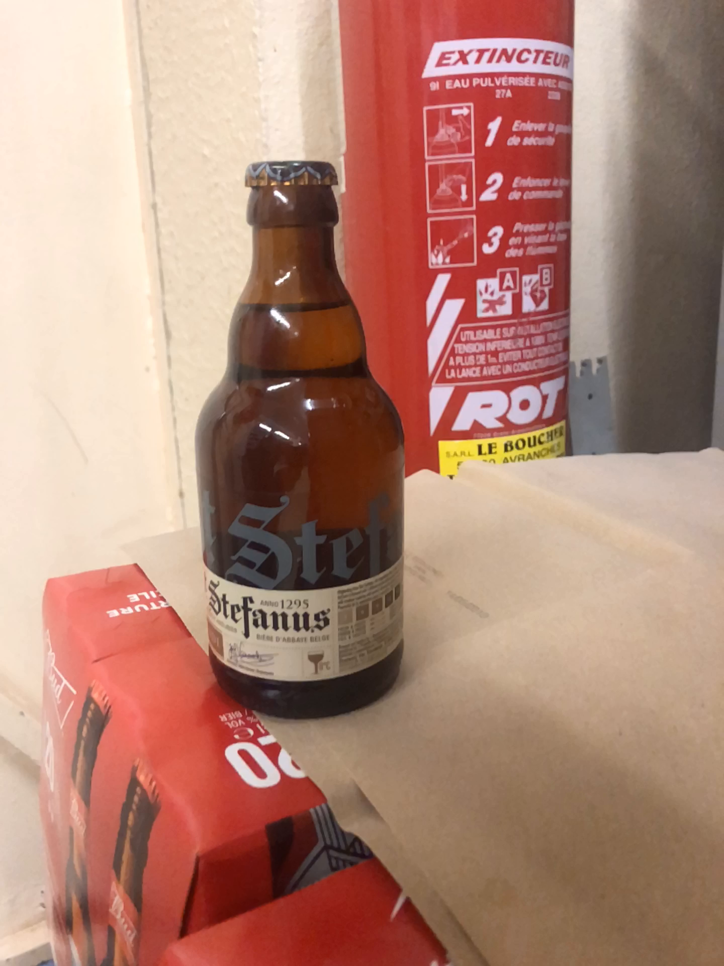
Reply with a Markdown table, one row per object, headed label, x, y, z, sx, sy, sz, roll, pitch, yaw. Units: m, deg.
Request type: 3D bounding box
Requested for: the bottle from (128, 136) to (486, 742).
| label | x | y | z | sx | sy | sz | roll | pitch | yaw |
| --- | --- | --- | --- | --- | --- | --- | --- | --- | --- |
| bottle | -0.014 | -0.019 | 0.275 | 0.080 | 0.169 | 0.080 | -2 | 15 | 0 |
